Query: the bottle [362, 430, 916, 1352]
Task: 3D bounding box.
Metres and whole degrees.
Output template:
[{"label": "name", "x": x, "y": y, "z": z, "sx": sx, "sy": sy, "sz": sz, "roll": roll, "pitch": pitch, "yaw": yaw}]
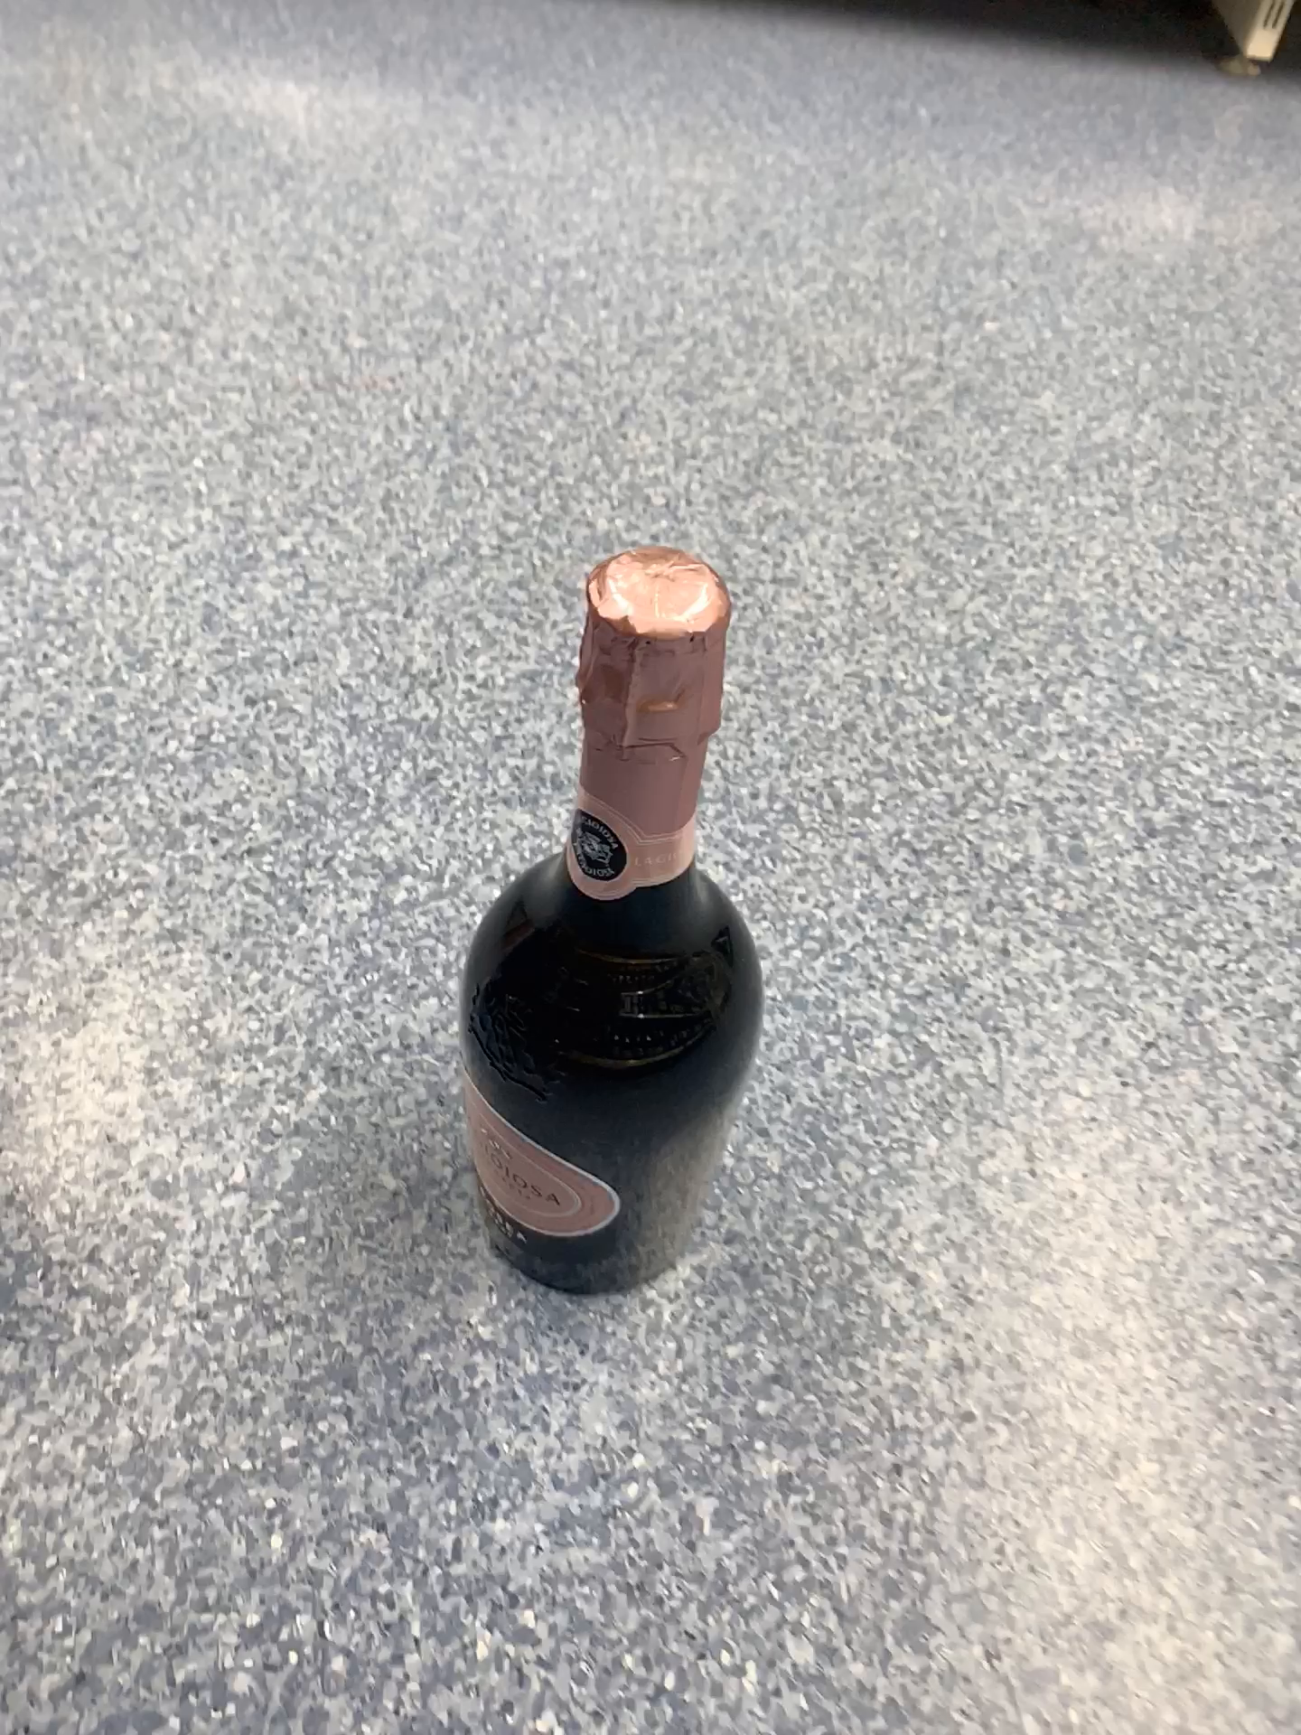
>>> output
[{"label": "bottle", "x": -0.015, "y": 0.027, "z": 0.391, "sx": 0.079, "sy": 0.268, "sz": 0.094, "roll": -32, "pitch": 59, "yaw": -31}]
